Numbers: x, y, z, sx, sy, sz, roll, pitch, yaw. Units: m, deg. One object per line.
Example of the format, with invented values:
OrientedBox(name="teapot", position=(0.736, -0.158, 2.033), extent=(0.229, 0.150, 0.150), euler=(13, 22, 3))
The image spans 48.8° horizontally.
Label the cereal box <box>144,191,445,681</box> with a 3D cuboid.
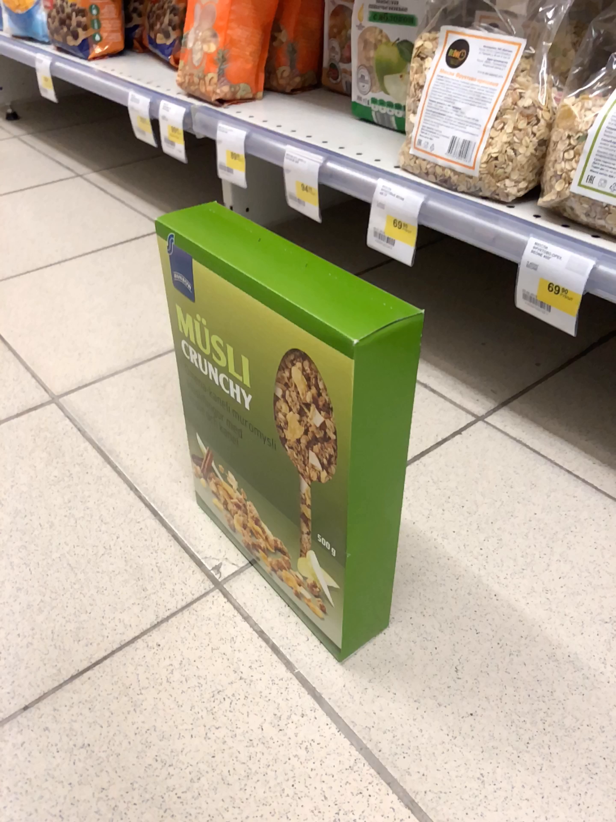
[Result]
OrientedBox(name="cereal box", position=(-0.019, 0.016, 0.434), extent=(0.050, 0.249, 0.201), euler=(-25, 43, -29))
